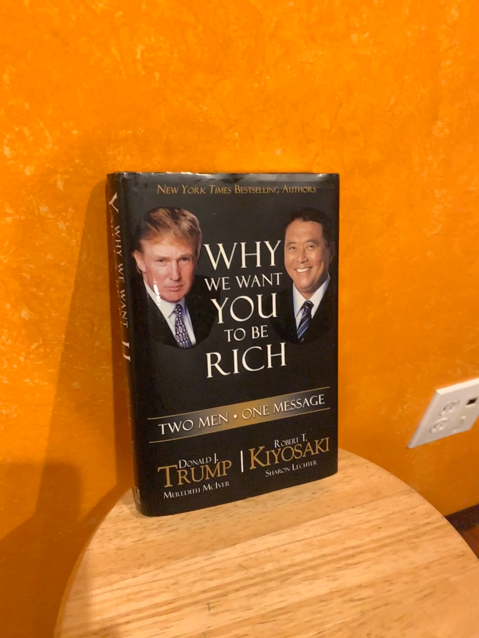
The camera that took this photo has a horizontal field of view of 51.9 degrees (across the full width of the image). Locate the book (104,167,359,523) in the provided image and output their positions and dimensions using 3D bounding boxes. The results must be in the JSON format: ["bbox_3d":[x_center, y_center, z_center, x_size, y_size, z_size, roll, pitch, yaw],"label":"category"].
[{"bbox_3d":[-0.002,0.011,0.326,0.151,0.210,0.044,-6,13,-20],"label":"book"}]
